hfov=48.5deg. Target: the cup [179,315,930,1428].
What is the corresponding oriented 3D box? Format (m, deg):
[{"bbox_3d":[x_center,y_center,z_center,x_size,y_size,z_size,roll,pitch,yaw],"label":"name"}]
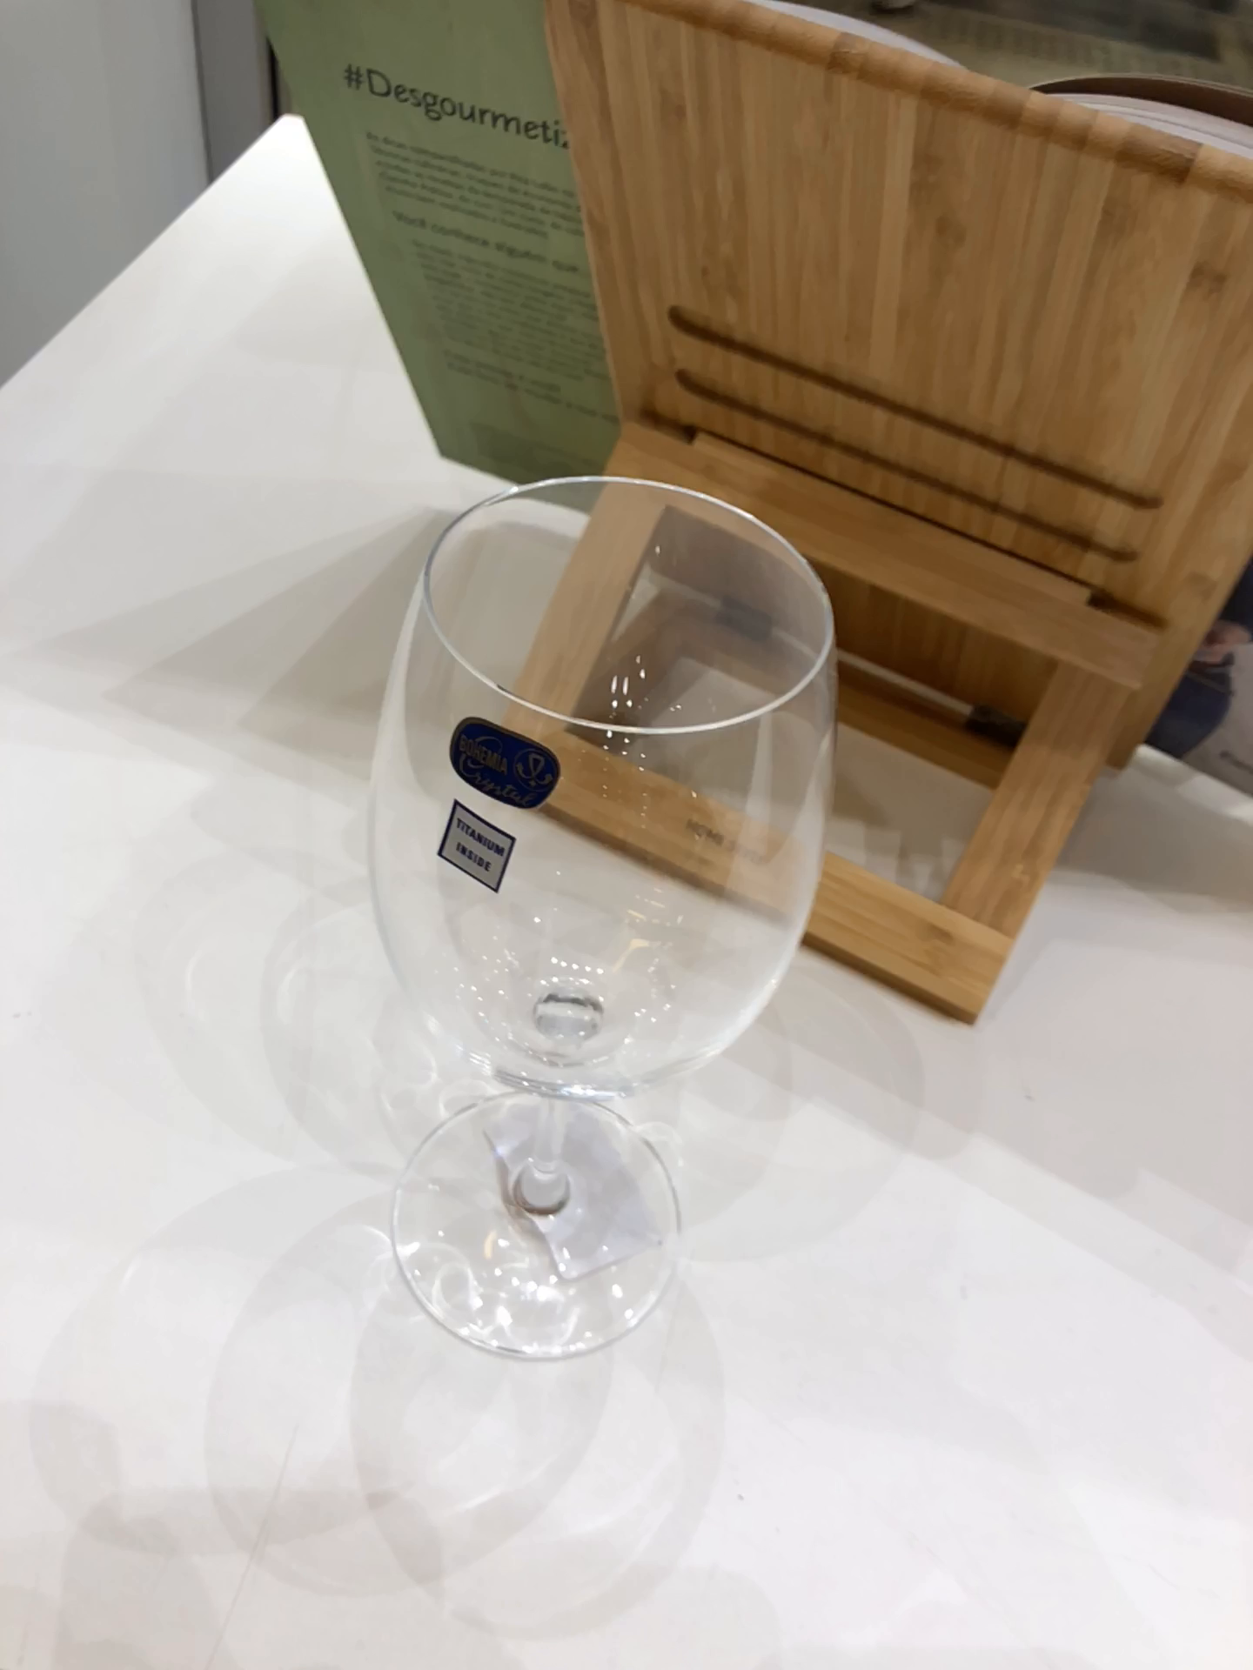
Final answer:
[{"bbox_3d":[-0.019,0.028,0.311,0.100,0.238,0.091,16,46,5],"label":"cup"}]
